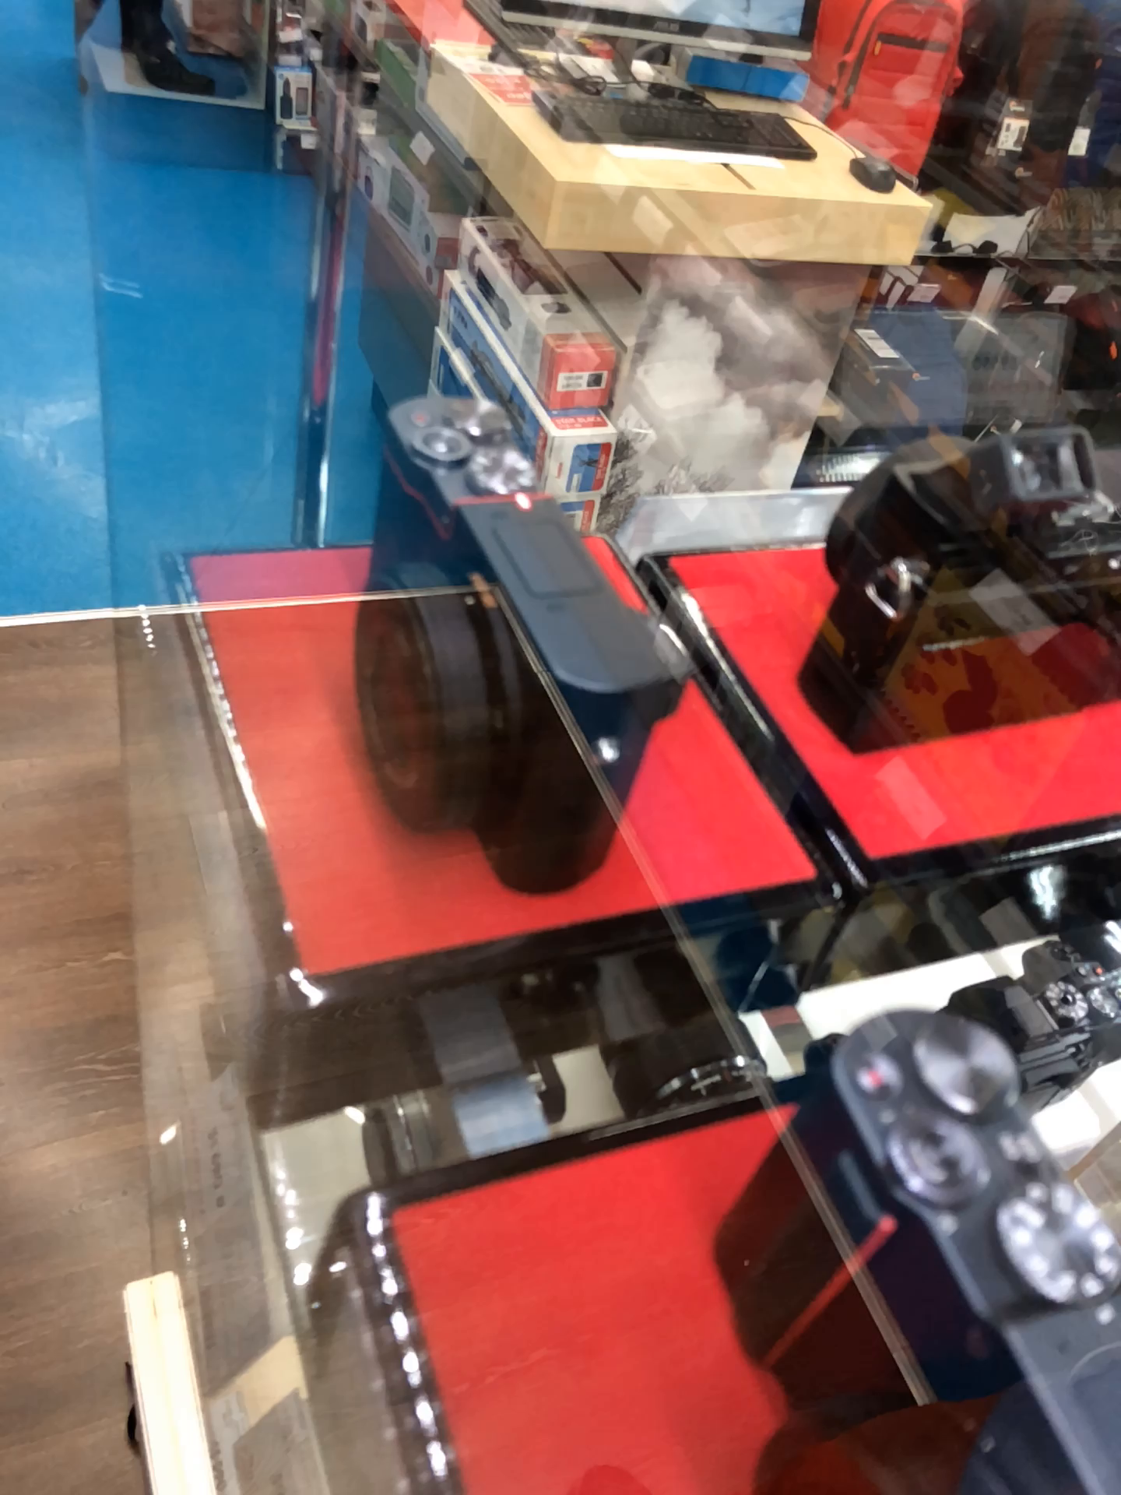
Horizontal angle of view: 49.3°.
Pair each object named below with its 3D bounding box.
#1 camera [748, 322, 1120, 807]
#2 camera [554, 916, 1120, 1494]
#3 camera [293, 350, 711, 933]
[{"bbox_3d":[0.130,-0.052,0.334,0.113,0.101,0.069,-9,48,-24],"label":"camera"},{"bbox_3d":[0.047,0.092,0.163,0.051,0.070,0.113,-5,46,-21],"label":"camera"},{"bbox_3d":[-0.022,-0.029,0.274,0.050,0.070,0.113,-7,47,-23],"label":"camera"}]
